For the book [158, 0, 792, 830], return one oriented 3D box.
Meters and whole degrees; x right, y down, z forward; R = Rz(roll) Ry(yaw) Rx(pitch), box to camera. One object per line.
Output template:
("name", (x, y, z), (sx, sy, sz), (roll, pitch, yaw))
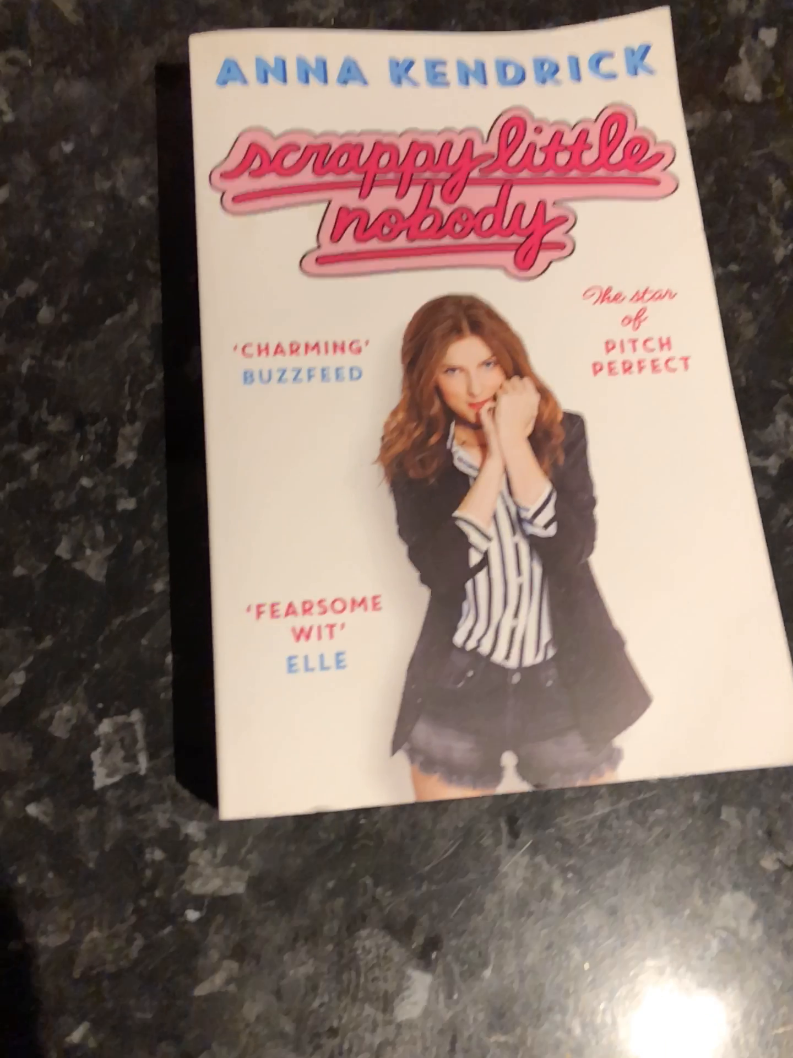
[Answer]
("book", (0.015, -0.042, 0.225), (0.140, 0.050, 0.210), (-2, 75, -10))
